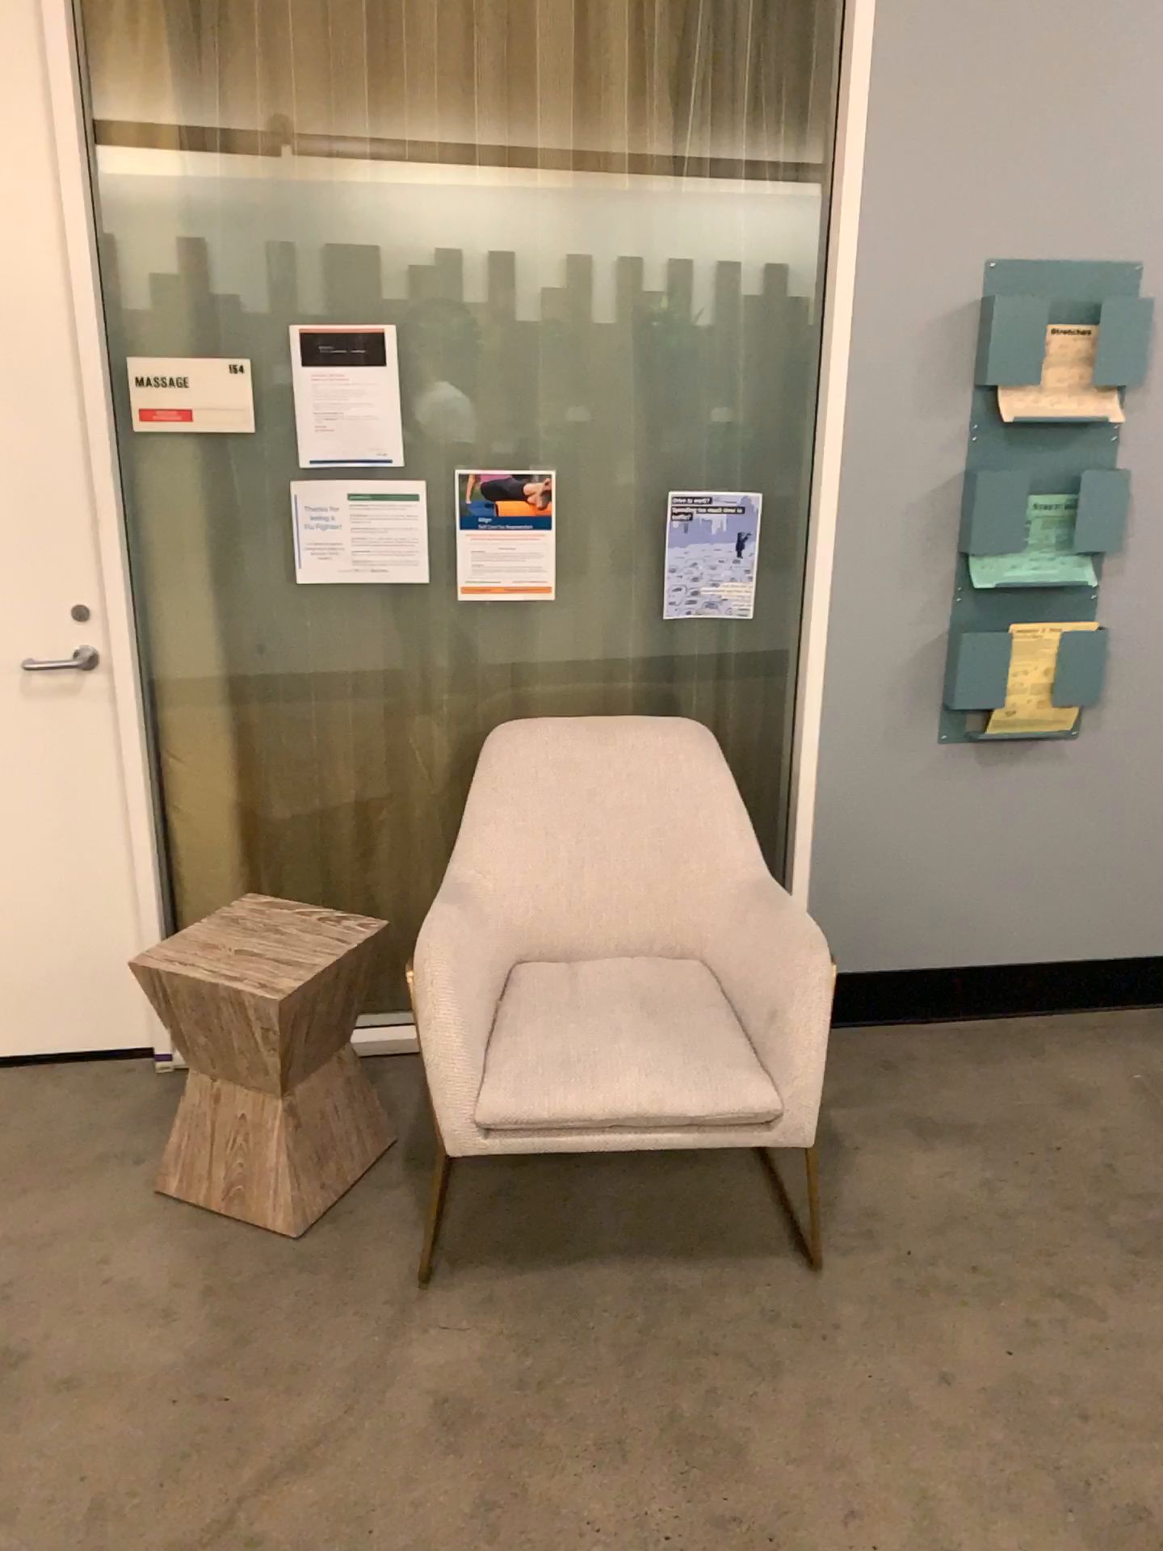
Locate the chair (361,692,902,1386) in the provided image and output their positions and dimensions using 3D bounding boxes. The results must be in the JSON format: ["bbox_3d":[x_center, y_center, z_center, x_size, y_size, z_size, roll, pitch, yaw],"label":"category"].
[{"bbox_3d":[0.027,0.407,2.248,0.780,0.926,0.874,-1,18,-6],"label":"chair"}]
